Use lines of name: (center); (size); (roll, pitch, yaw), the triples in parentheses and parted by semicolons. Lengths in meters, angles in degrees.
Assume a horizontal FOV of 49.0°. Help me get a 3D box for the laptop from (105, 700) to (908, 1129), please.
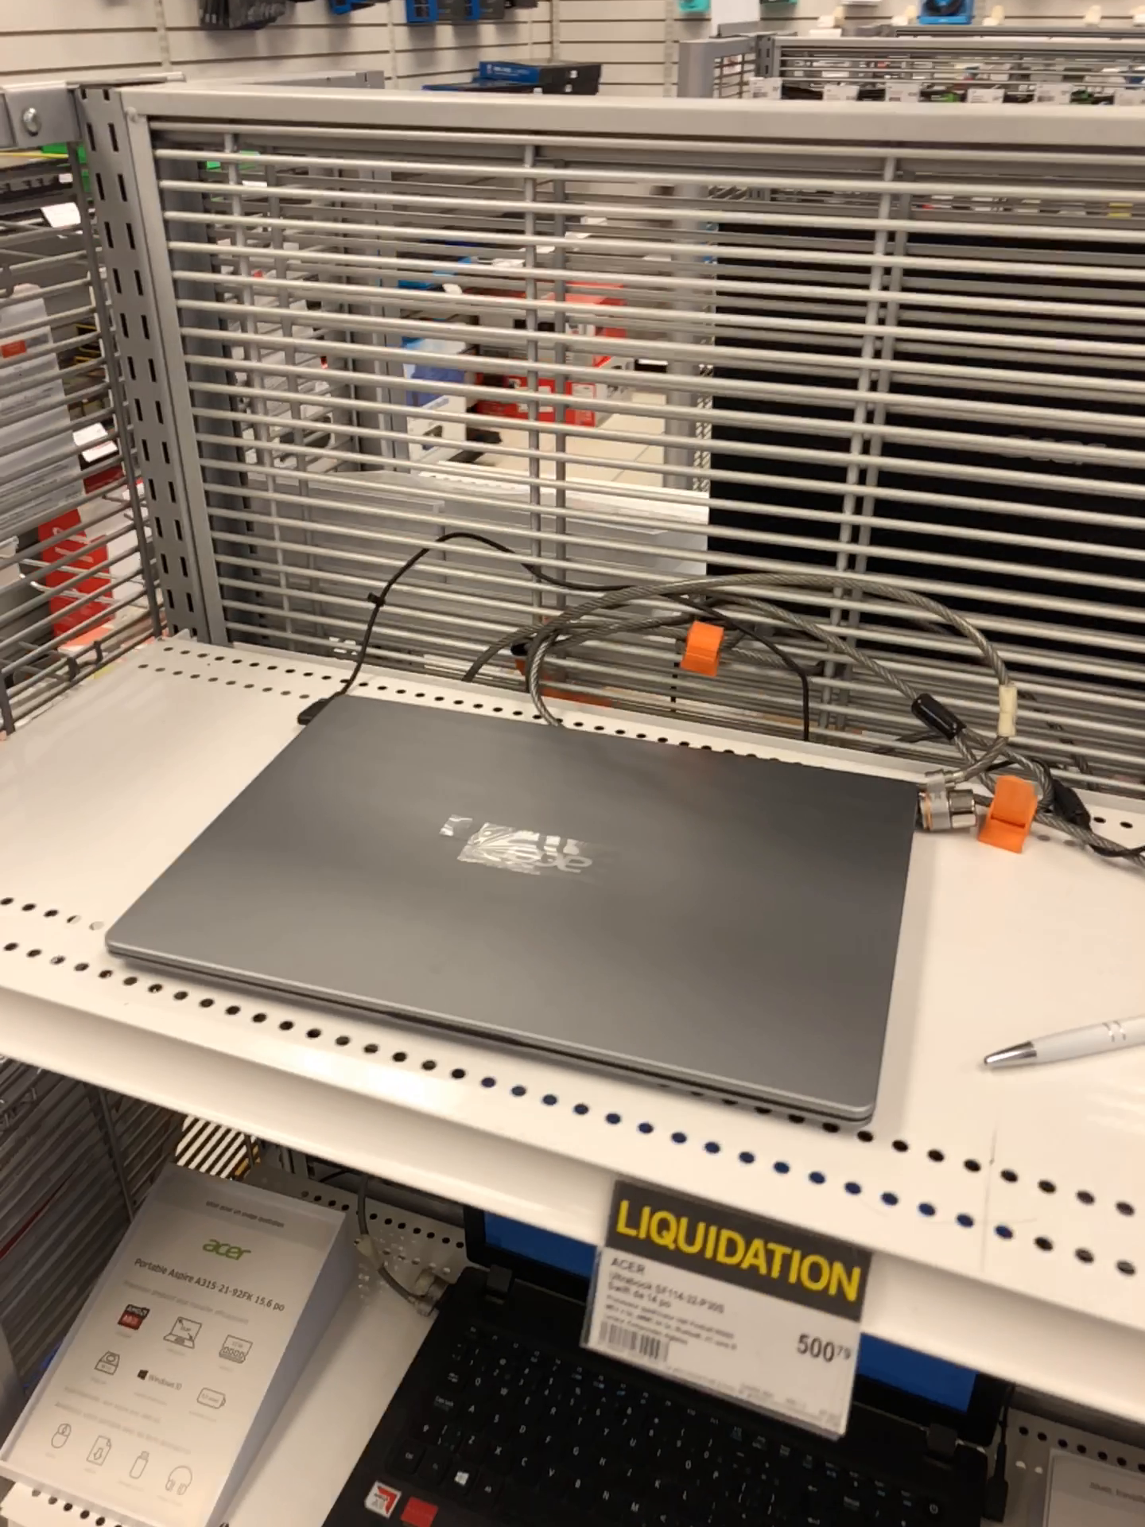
laptop: (-0.017, 0.048, 0.584); (0.316, 0.006, 0.220); (9, 34, 16)
